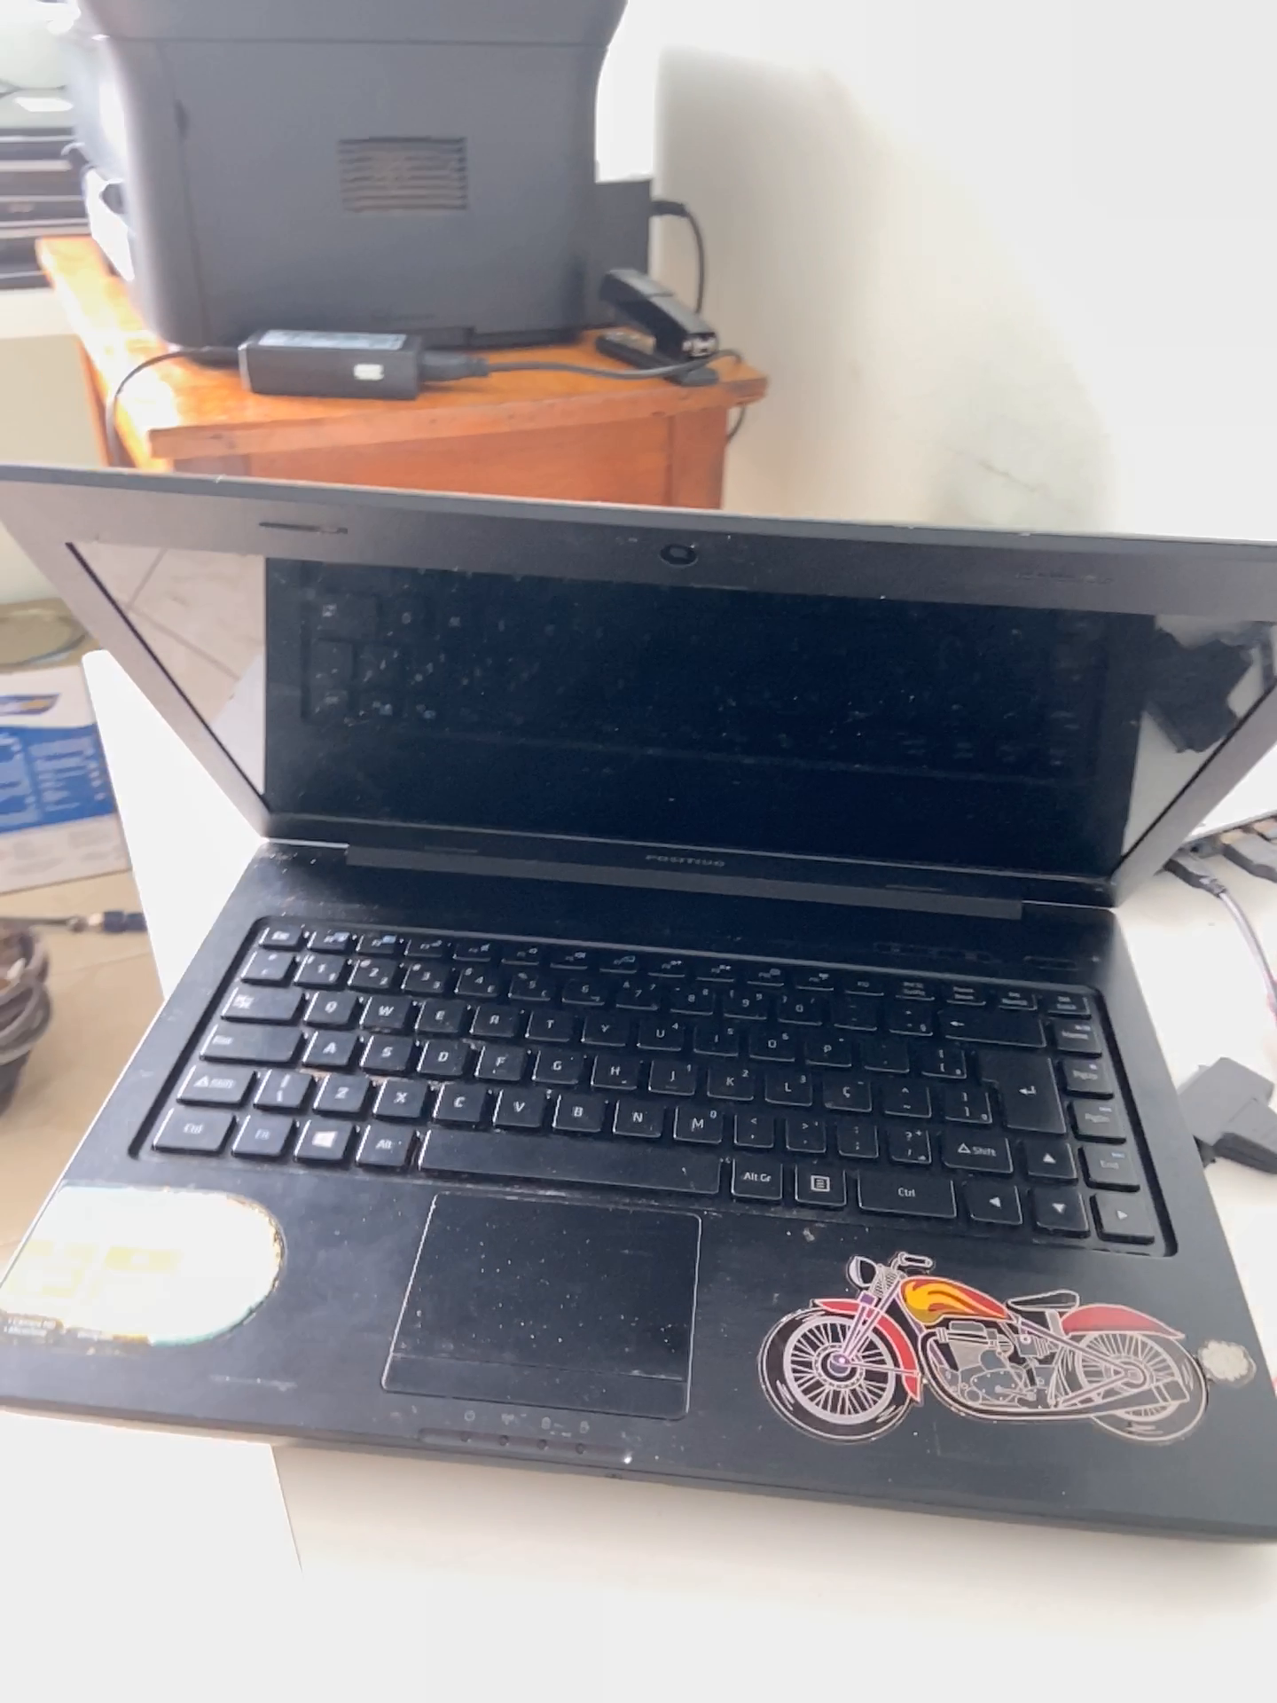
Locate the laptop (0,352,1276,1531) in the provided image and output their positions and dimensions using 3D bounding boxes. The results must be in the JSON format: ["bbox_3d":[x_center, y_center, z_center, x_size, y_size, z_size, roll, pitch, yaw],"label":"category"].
[{"bbox_3d":[0.006,0.000,0.360,0.330,0.189,0.234,4,34,4],"label":"laptop"}]
